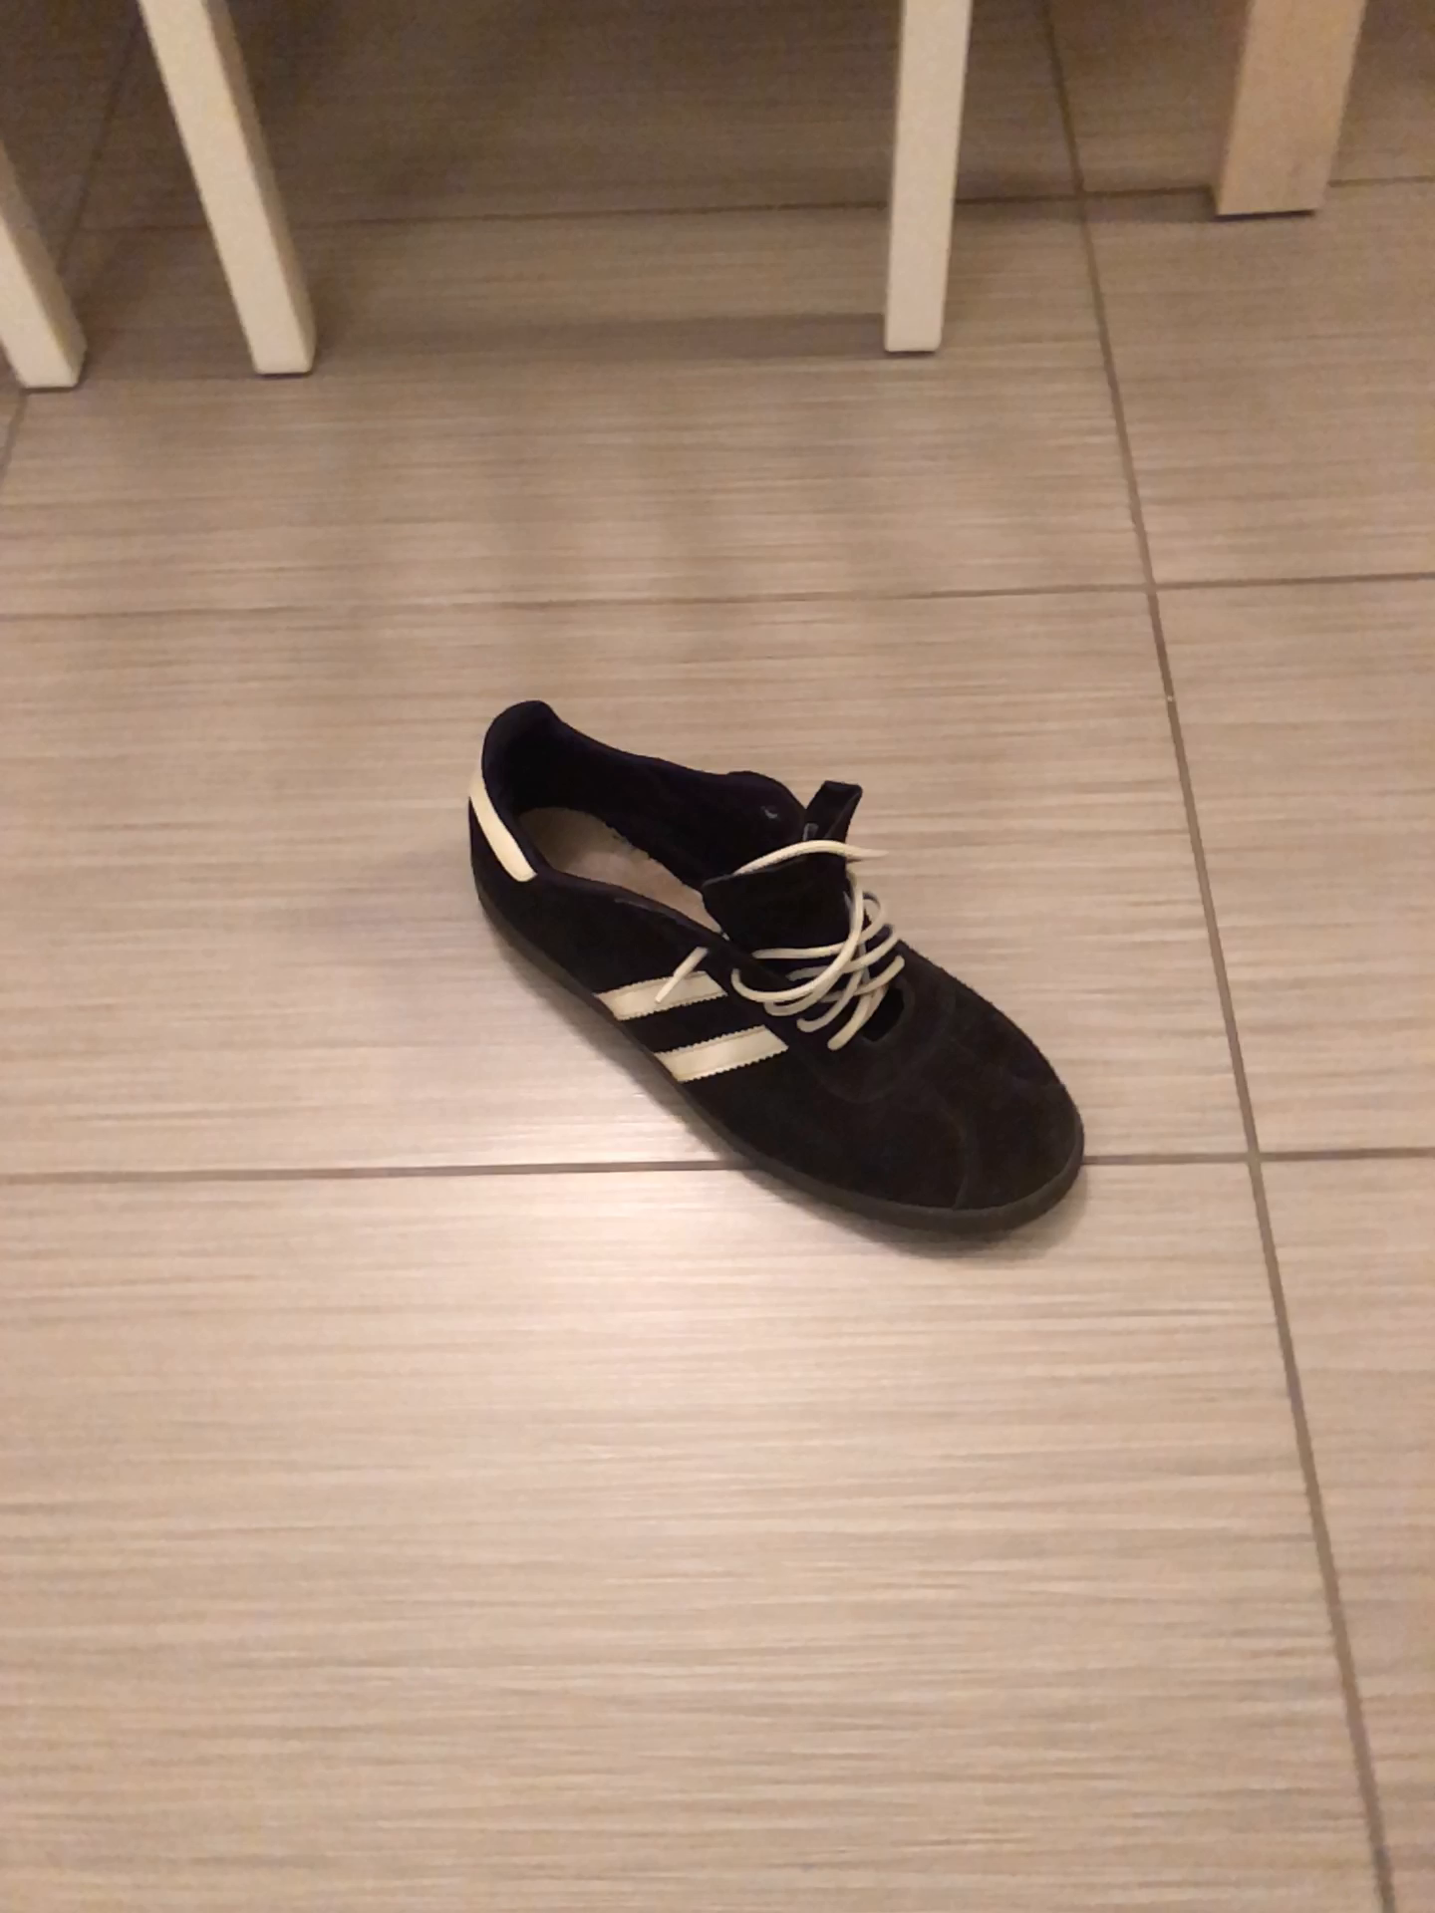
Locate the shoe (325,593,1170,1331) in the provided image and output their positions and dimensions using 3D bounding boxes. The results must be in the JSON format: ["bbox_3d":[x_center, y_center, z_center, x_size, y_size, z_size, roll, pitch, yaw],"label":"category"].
[{"bbox_3d":[0.005,-0.003,0.634,0.310,0.120,0.110,34,67,20],"label":"shoe"}]
